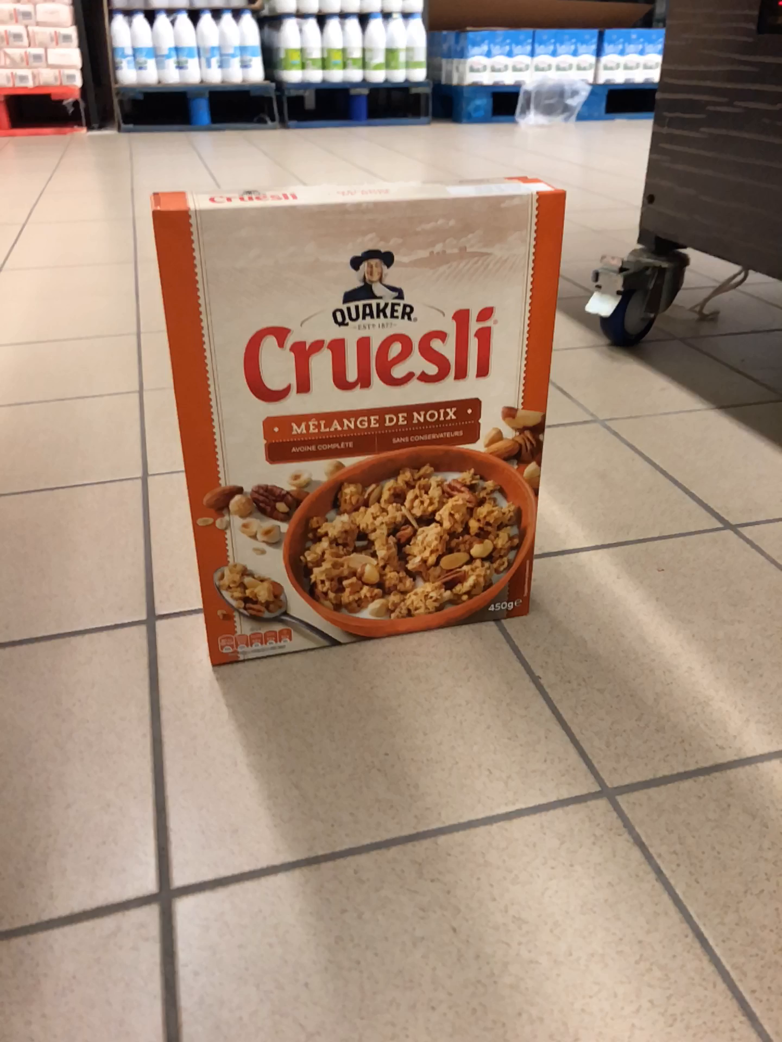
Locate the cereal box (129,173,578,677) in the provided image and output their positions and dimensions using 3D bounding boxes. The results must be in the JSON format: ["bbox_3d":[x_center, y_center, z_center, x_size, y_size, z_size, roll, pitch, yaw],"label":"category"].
[{"bbox_3d":[-0.018,-0.048,0.462,0.200,0.249,0.060,-6,28,-11],"label":"cereal box"}]
